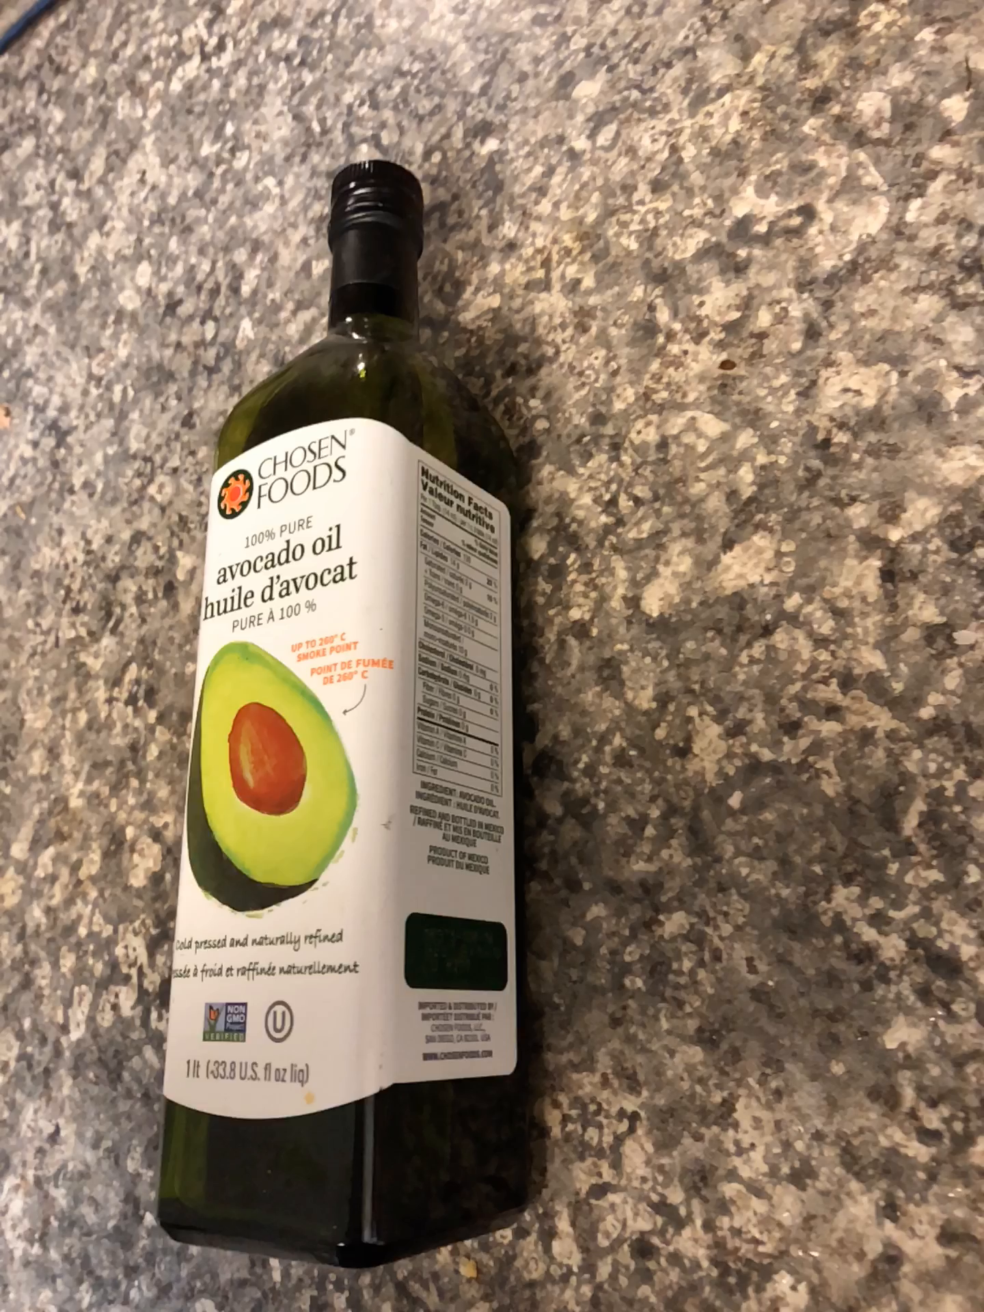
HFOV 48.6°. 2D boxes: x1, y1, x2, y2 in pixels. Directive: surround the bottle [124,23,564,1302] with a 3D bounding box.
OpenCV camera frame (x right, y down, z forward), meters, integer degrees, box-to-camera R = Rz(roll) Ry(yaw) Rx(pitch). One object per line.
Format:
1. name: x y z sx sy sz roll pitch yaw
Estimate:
1. bottle: -0.039 -0.011 0.311 0.080 0.070 0.320 -13 70 33
